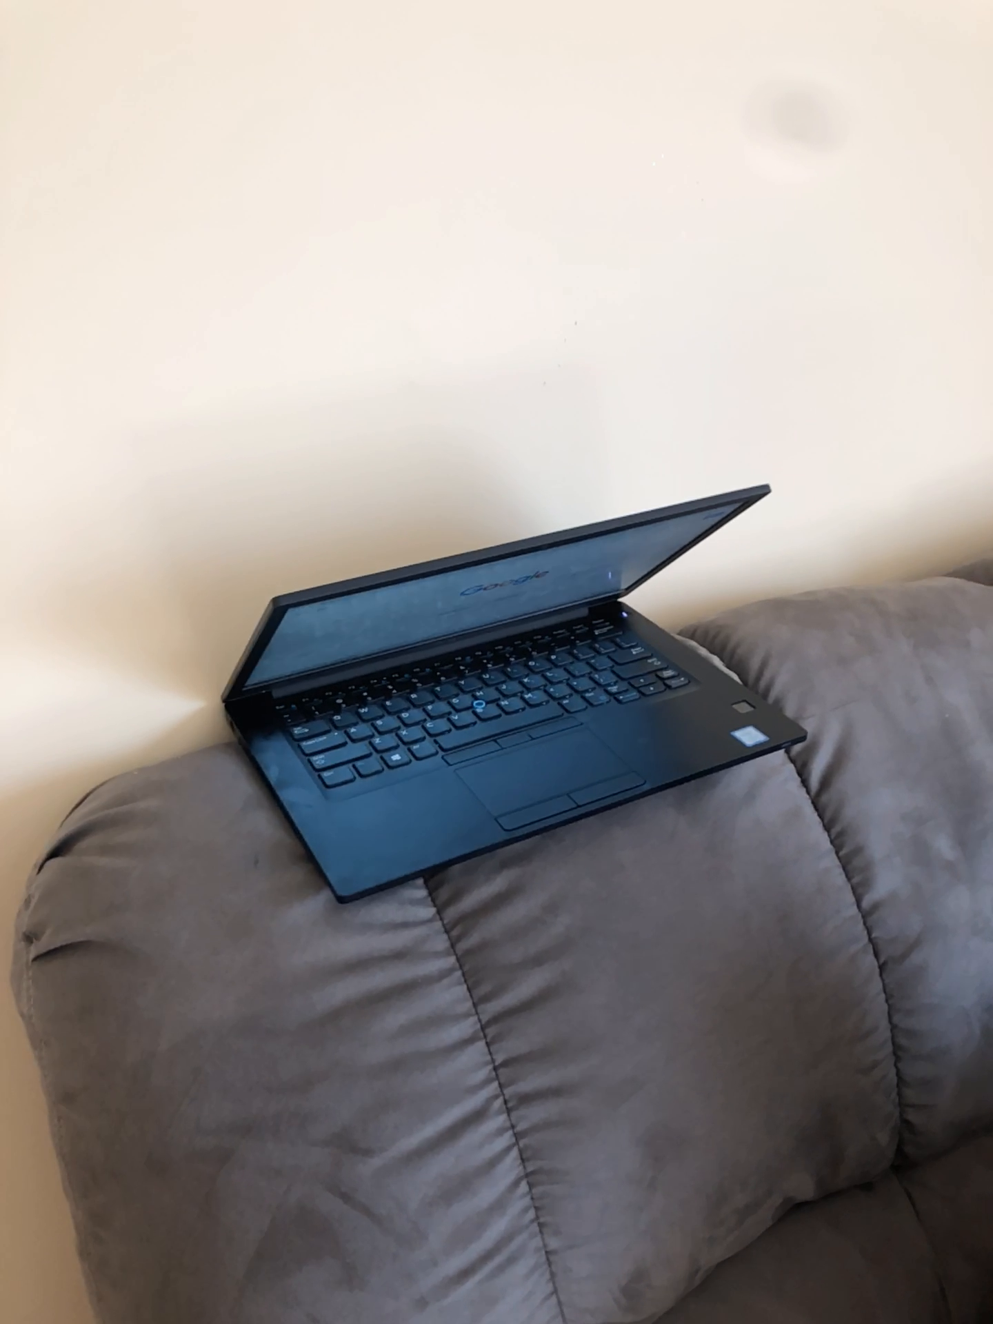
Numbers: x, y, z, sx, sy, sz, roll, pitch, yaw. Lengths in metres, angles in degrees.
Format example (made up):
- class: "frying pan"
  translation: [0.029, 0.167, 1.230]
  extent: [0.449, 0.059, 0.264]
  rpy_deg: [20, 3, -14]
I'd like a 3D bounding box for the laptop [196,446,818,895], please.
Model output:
- class: "laptop"
  translation: [0.005, -0.020, 0.701]
  extent: [0.321, 0.128, 0.214]
  rpy_deg: [-15, 31, -25]
